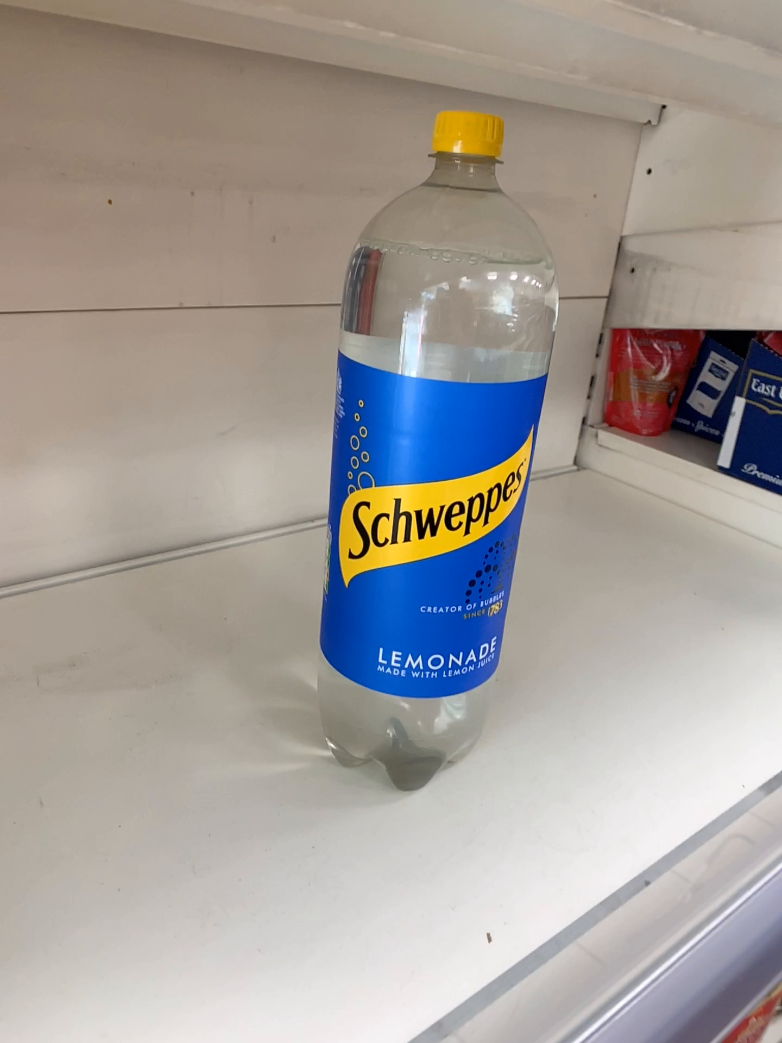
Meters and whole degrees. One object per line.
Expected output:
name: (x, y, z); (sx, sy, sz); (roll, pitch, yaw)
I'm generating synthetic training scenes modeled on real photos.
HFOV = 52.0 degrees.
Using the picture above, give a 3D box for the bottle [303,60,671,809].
bottle: (0.023, -0.028, 0.394); (0.110, 0.327, 0.111); (5, 23, -2)
